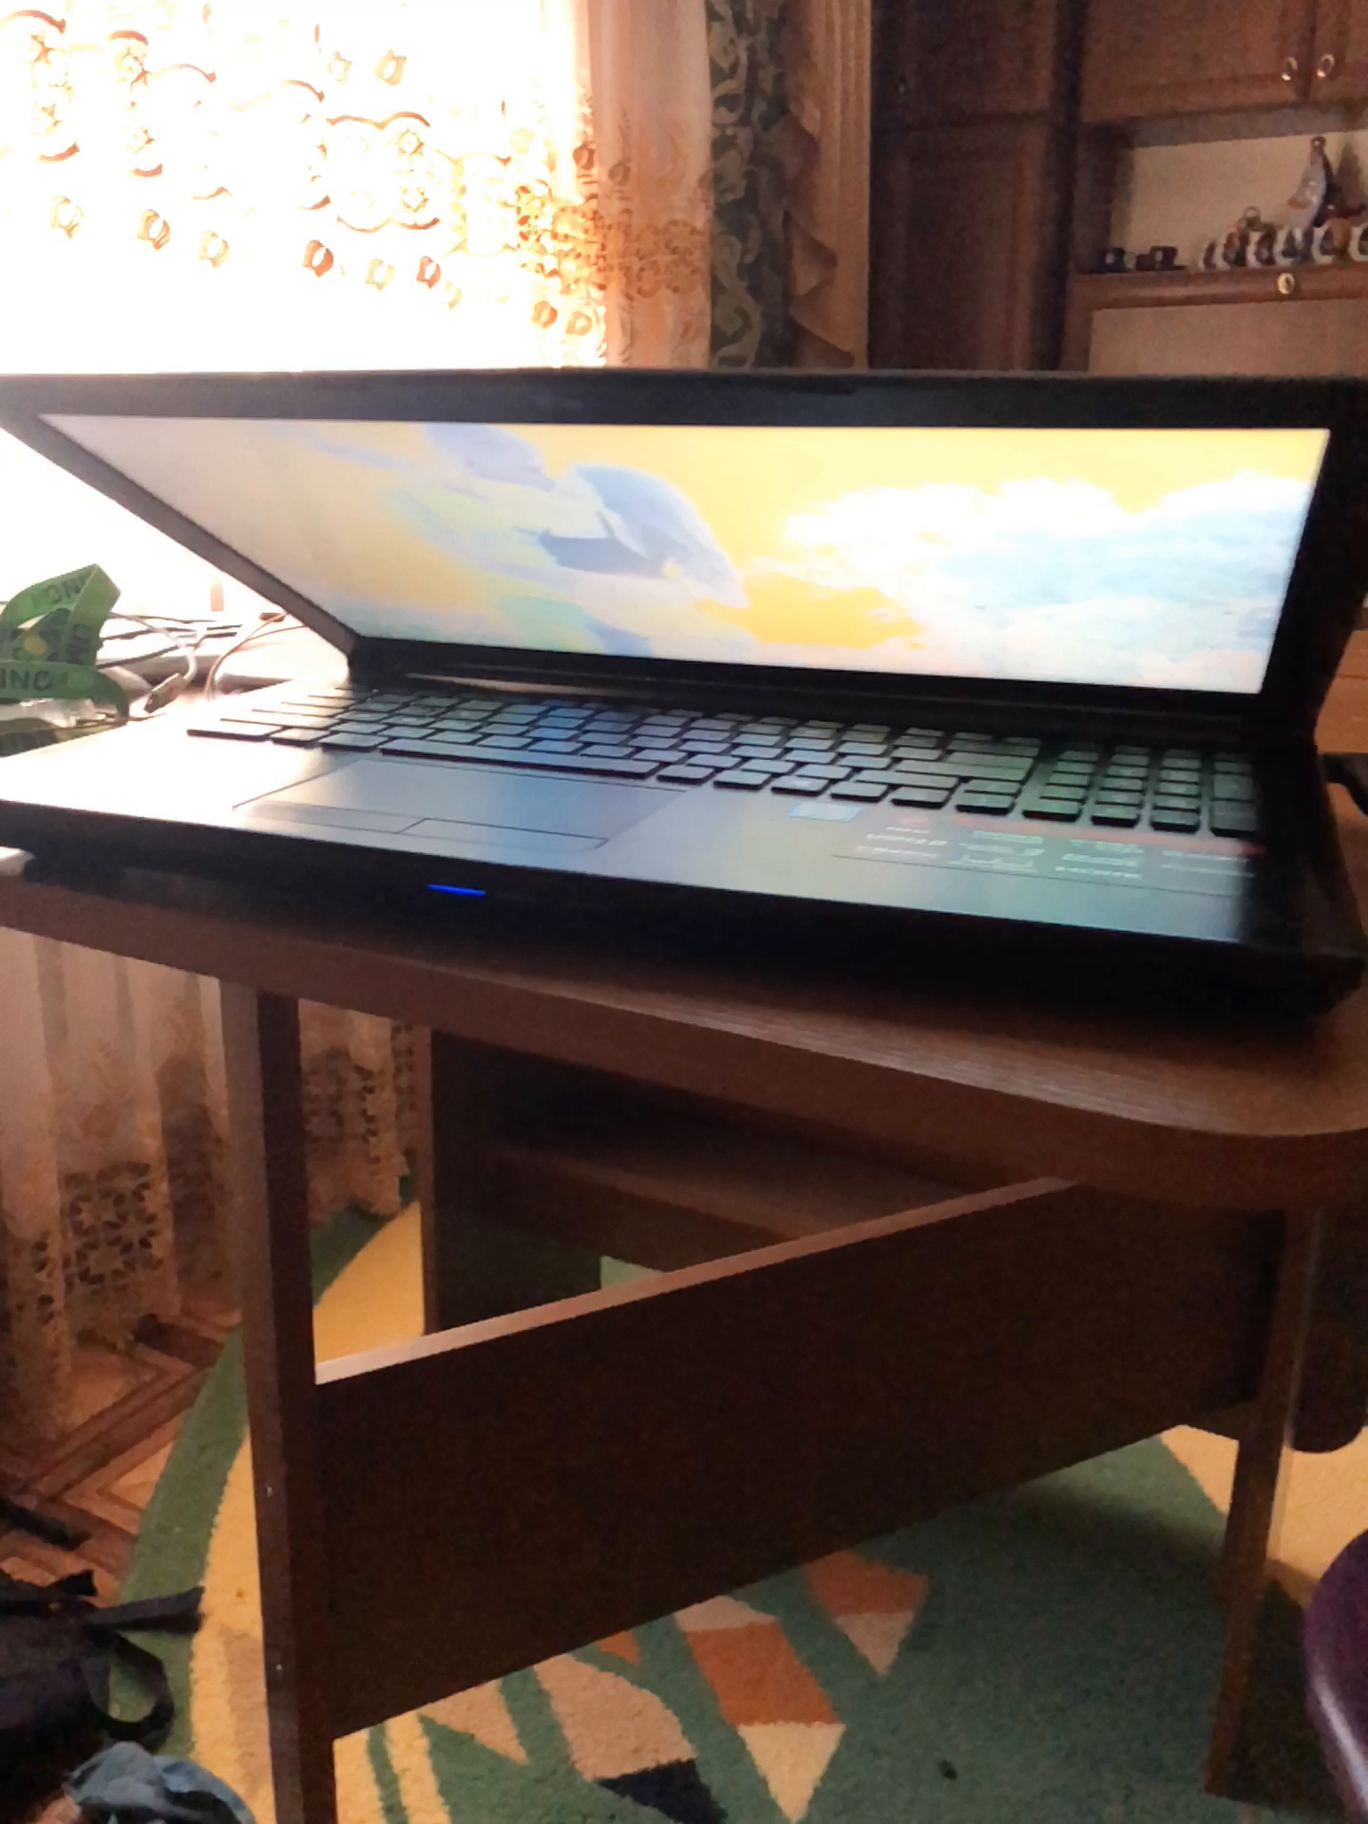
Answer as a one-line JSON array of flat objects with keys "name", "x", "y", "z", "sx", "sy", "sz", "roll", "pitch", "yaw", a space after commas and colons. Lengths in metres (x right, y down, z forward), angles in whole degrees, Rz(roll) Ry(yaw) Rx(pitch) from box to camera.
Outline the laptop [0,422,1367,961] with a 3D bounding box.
[{"name": "laptop", "x": -0.005, "y": -0.092, "z": 0.444, "sx": 0.372, "sy": 0.095, "sz": 0.239, "roll": 6, "pitch": 18, "yaw": 20}]
